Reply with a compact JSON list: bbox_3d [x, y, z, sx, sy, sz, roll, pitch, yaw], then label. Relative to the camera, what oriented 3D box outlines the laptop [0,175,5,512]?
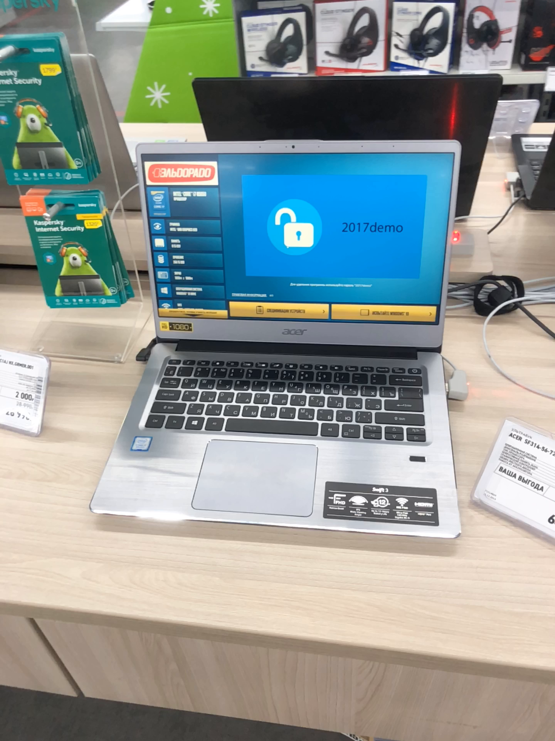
[{"bbox_3d":[-0.515,-0.048,0.631,0.279,0.159,0.313,4,46,9],"label":"laptop"}]

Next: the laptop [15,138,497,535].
[{"bbox_3d":[0.003,-0.049,0.566,0.314,0.197,0.304,2,44,7],"label":"laptop"}]
